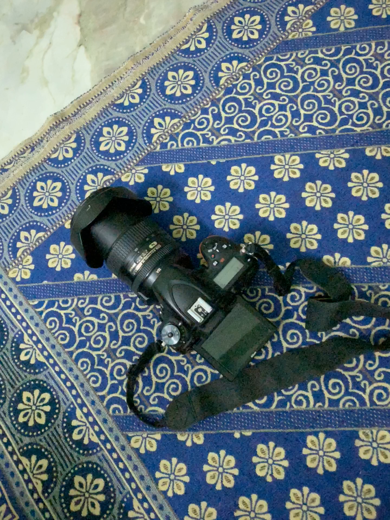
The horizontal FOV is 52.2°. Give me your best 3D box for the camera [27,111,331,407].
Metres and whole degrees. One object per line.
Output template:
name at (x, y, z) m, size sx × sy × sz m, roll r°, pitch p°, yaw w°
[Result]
camera at (-0.023, -0.007, 0.488) m, size 0.320 × 0.110 × 0.160 m, roll 43°, pitch 88°, yaw 16°
